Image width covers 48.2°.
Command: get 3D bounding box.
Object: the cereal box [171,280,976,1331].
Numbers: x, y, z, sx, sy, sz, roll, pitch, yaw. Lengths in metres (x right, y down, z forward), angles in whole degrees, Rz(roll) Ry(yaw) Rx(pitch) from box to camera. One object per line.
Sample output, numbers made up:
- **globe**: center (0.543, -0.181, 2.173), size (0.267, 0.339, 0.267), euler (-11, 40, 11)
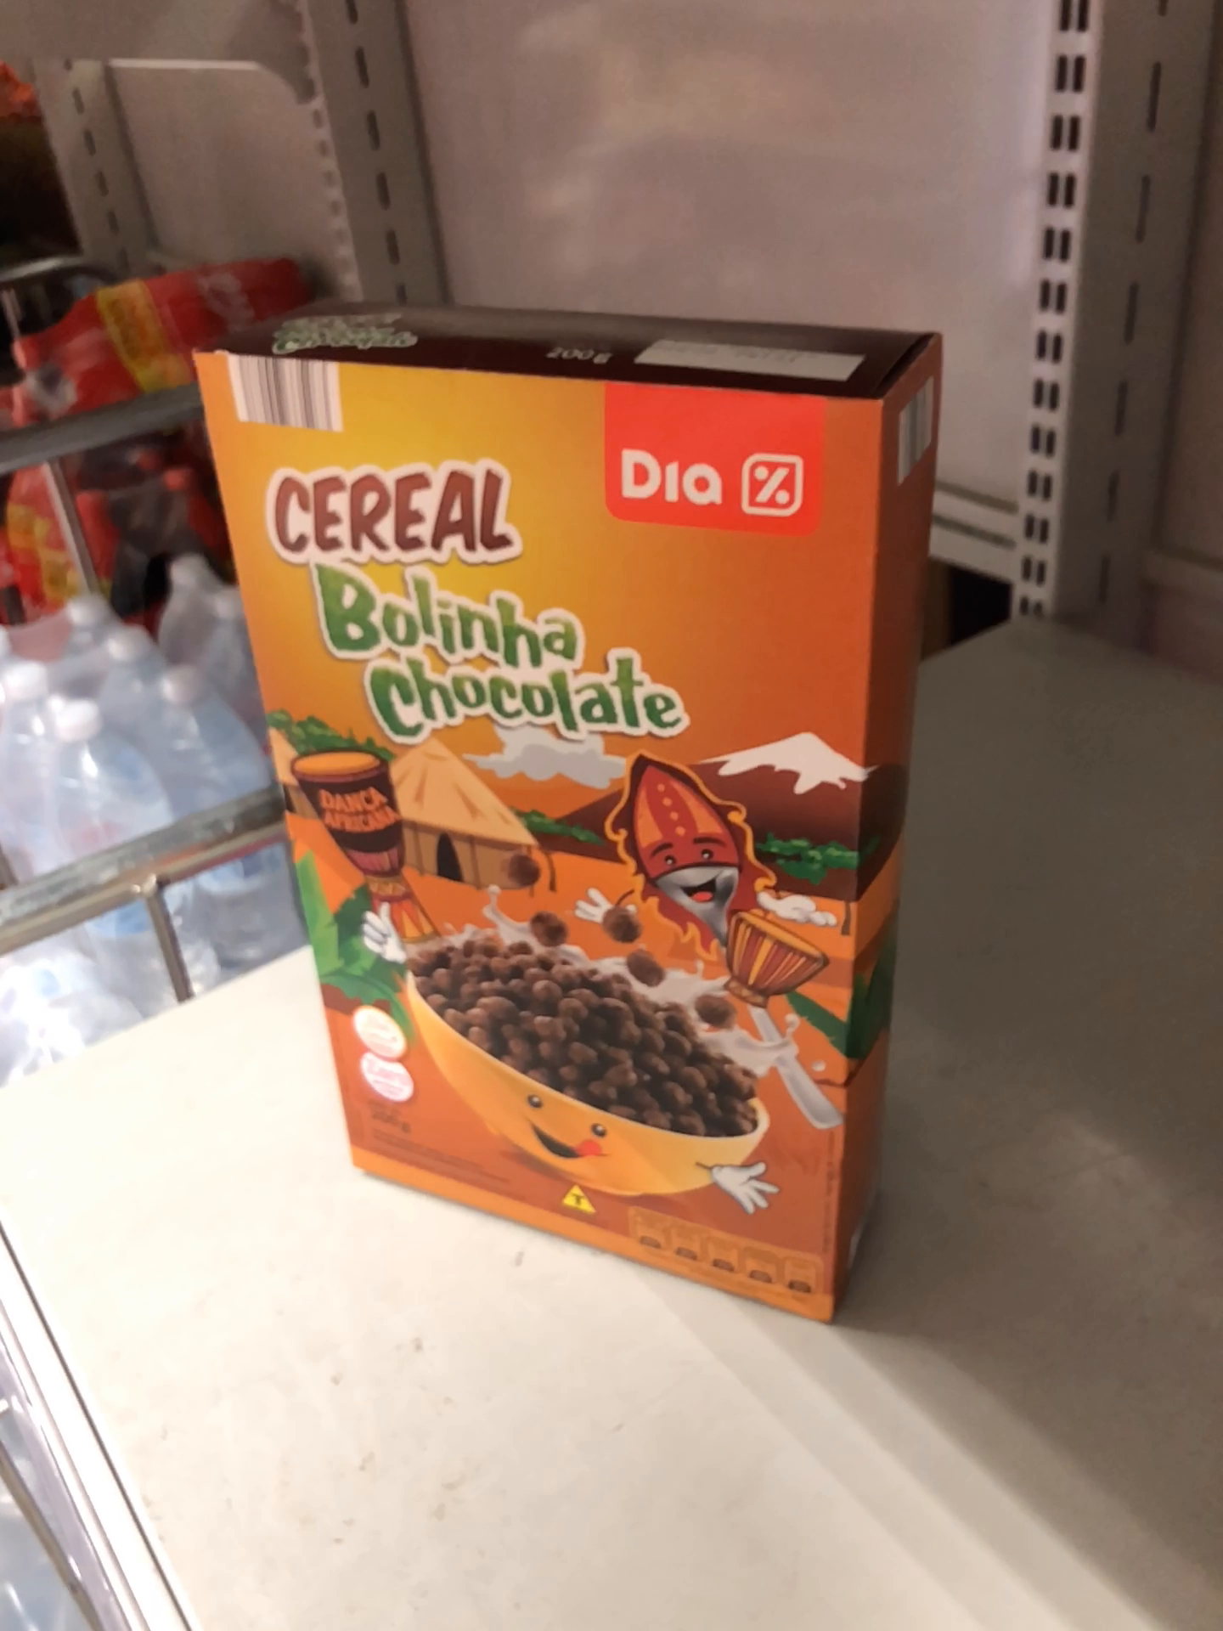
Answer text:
- **cereal box**: center (-0.008, 0.002, 0.370), size (0.170, 0.258, 0.060), euler (12, 33, 21)
